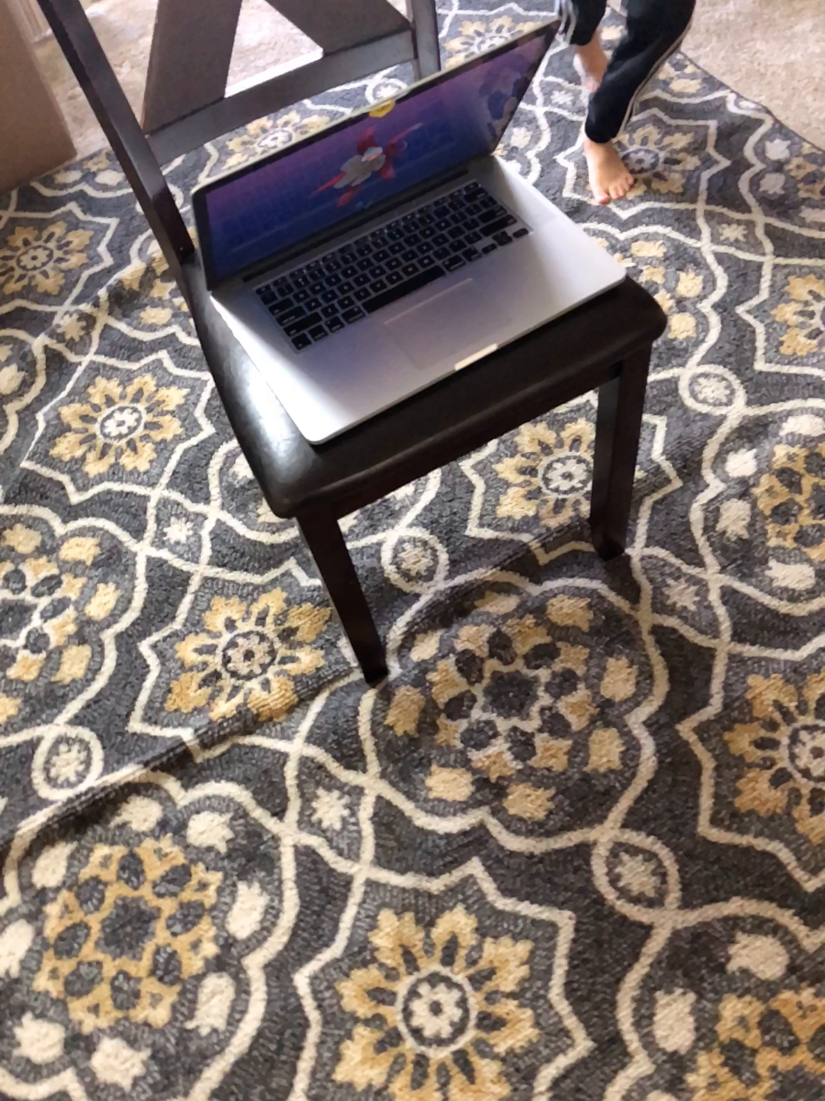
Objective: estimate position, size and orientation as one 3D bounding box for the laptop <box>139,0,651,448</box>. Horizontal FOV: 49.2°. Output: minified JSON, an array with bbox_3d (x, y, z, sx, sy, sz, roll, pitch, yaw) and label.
[{"bbox_3d":[-0.012,-0.314,0.817,0.351,0.200,0.237,-30,59,-11],"label":"laptop"}]
